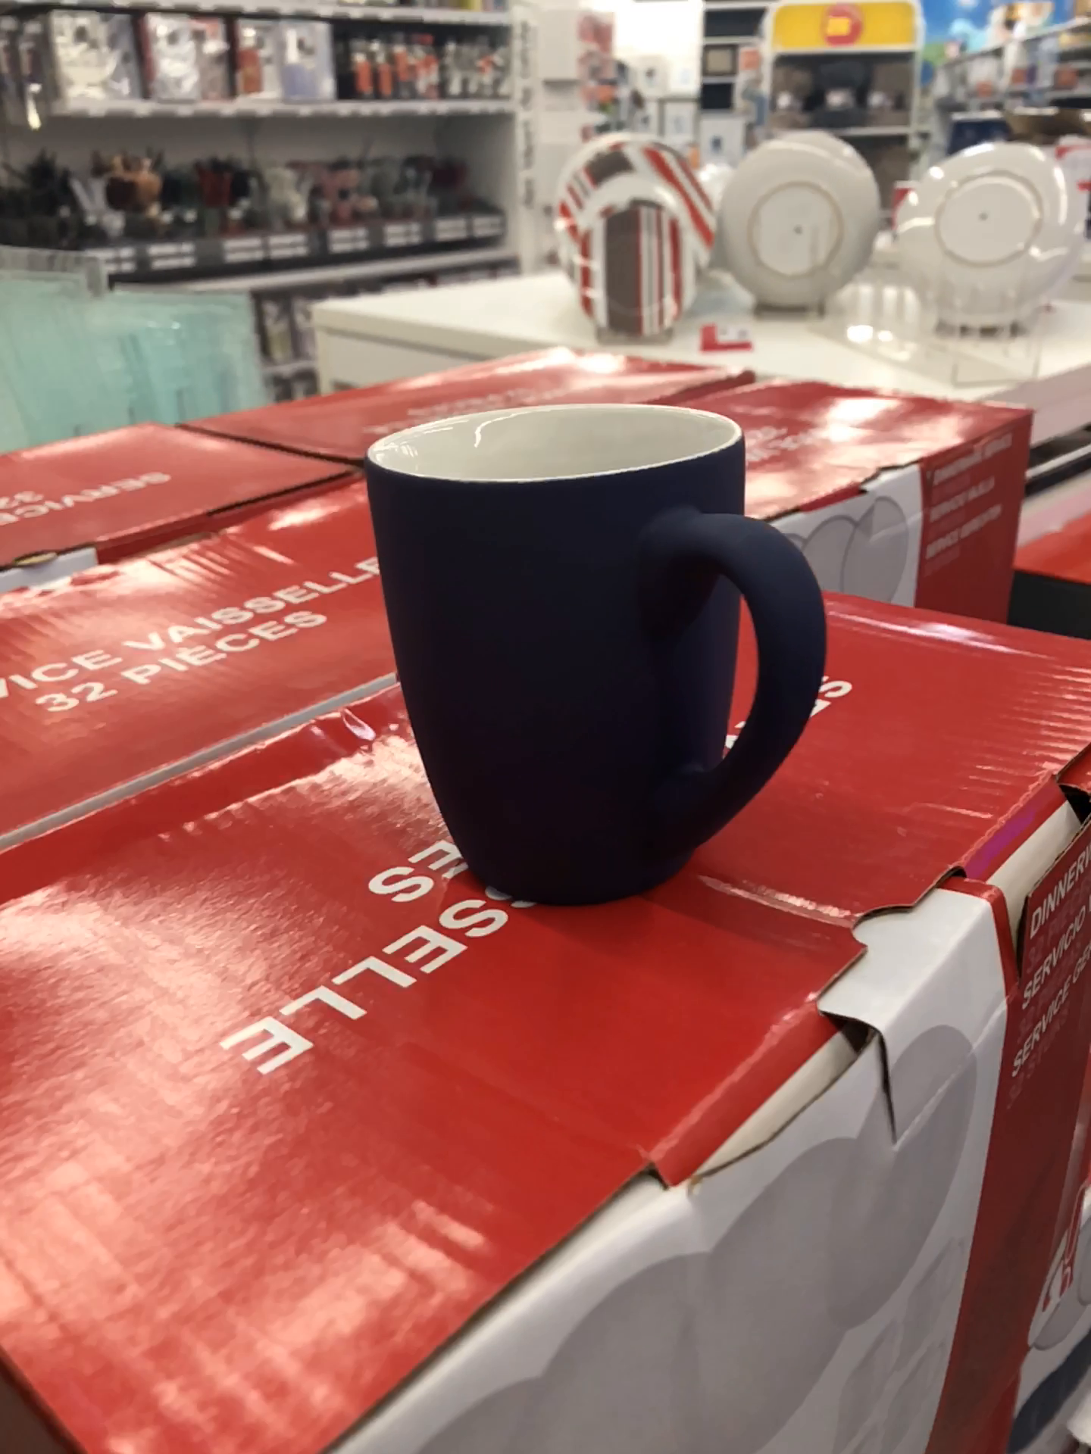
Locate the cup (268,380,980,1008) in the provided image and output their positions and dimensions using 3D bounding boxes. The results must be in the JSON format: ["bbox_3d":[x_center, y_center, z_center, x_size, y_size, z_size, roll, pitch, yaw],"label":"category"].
[{"bbox_3d":[0.015,-0.020,0.270,0.091,0.088,0.121,-24,30,-33],"label":"cup"}]
